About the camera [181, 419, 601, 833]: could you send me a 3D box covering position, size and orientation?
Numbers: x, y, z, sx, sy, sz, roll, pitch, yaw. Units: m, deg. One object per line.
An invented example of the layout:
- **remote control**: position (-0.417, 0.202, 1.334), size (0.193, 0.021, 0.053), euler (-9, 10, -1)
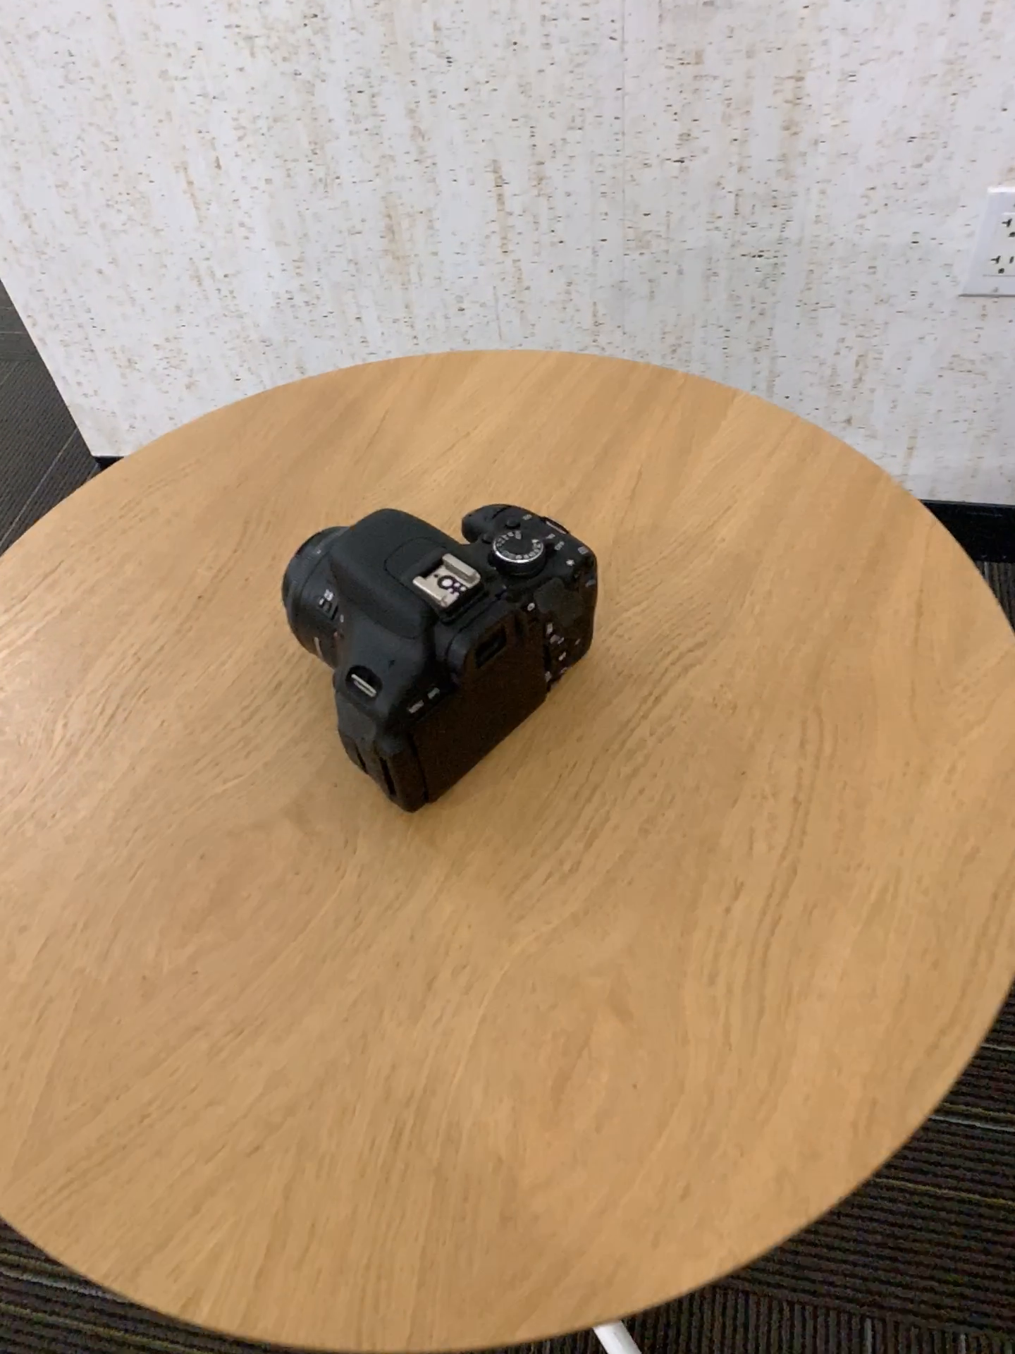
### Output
- **camera**: position (-0.046, -0.027, 0.457), size (0.126, 0.080, 0.120), euler (34, 62, 28)
